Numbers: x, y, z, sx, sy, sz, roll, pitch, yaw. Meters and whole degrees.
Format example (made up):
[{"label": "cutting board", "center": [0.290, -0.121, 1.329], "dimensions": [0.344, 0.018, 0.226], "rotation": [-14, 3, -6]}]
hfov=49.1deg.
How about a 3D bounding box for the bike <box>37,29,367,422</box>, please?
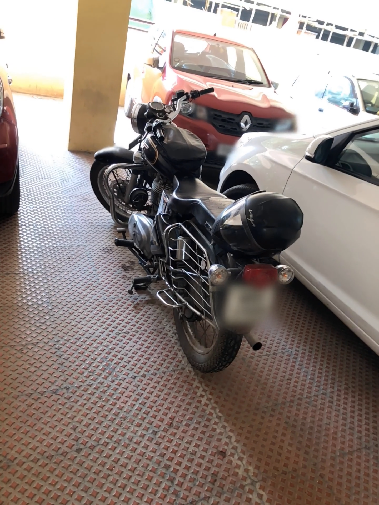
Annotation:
[{"label": "bike", "center": [-0.225, -0.292, 2.266], "dimensions": [0.693, 1.217, 1.790], "rotation": [-5, 36, -31]}]
